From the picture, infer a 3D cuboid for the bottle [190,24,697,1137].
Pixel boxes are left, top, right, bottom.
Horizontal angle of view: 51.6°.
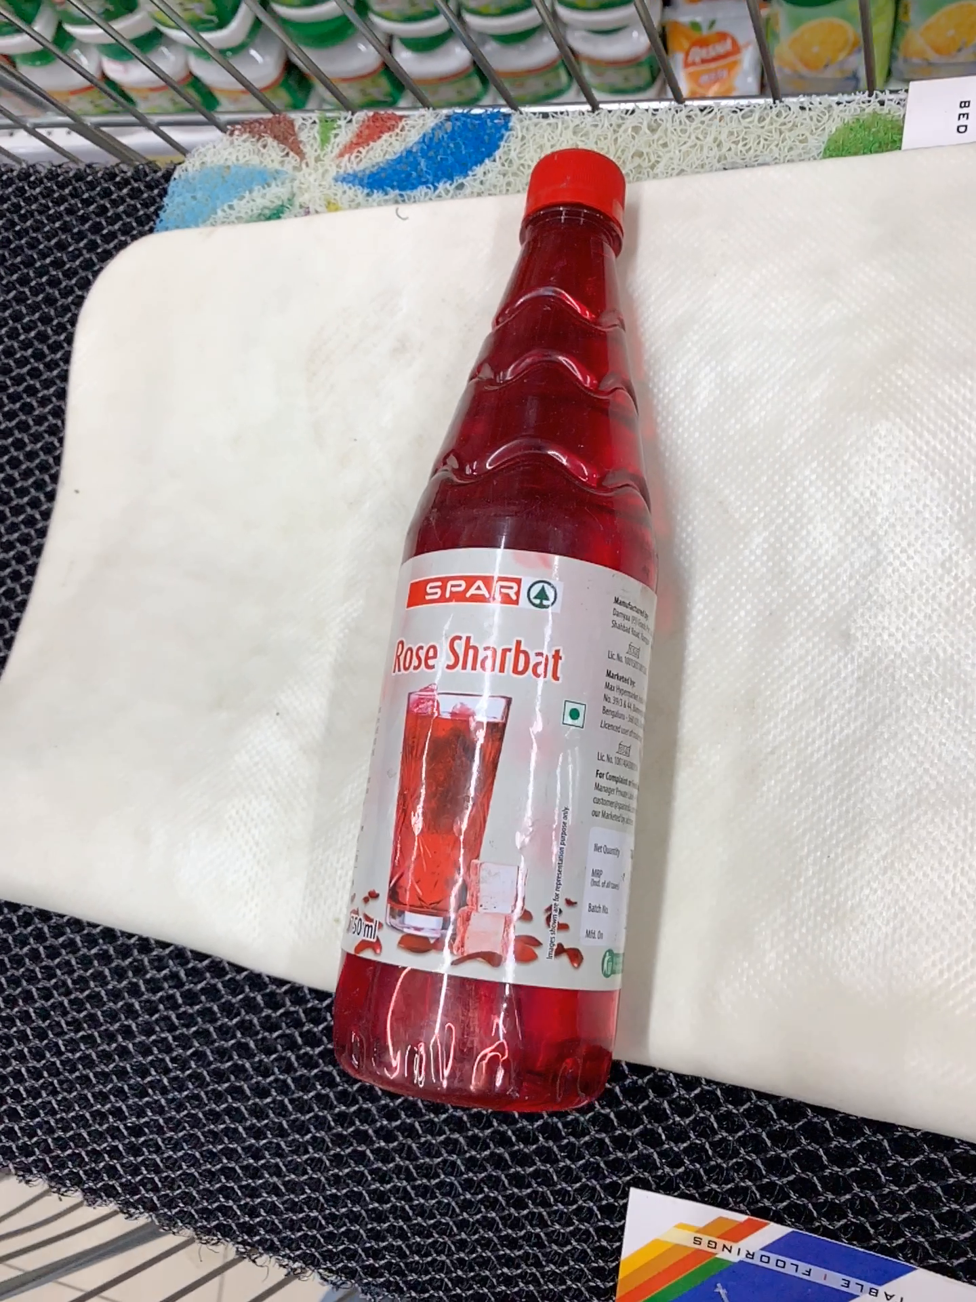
[{"bbox_3d":[0.000,-0.020,0.245,0.070,0.070,0.230,2,77,23],"label":"bottle"}]
